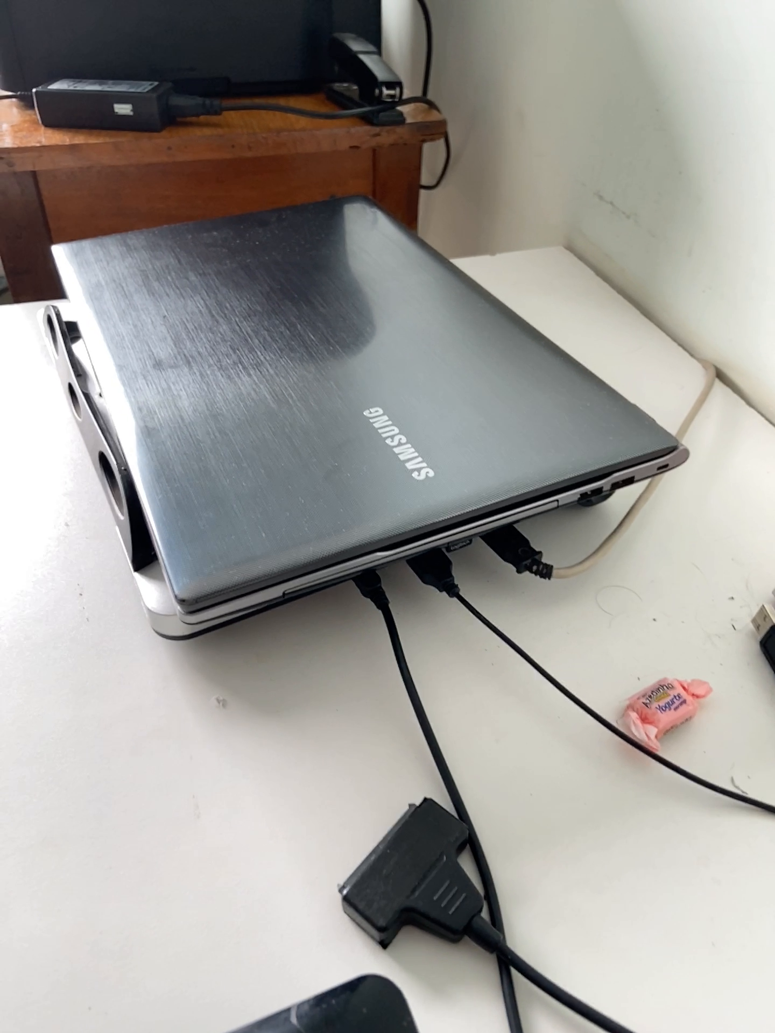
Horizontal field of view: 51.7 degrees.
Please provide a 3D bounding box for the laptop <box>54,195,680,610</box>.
[{"bbox_3d":[-0.048,-0.110,0.469,0.236,0.005,0.375,-17,43,-18],"label":"laptop"}]
